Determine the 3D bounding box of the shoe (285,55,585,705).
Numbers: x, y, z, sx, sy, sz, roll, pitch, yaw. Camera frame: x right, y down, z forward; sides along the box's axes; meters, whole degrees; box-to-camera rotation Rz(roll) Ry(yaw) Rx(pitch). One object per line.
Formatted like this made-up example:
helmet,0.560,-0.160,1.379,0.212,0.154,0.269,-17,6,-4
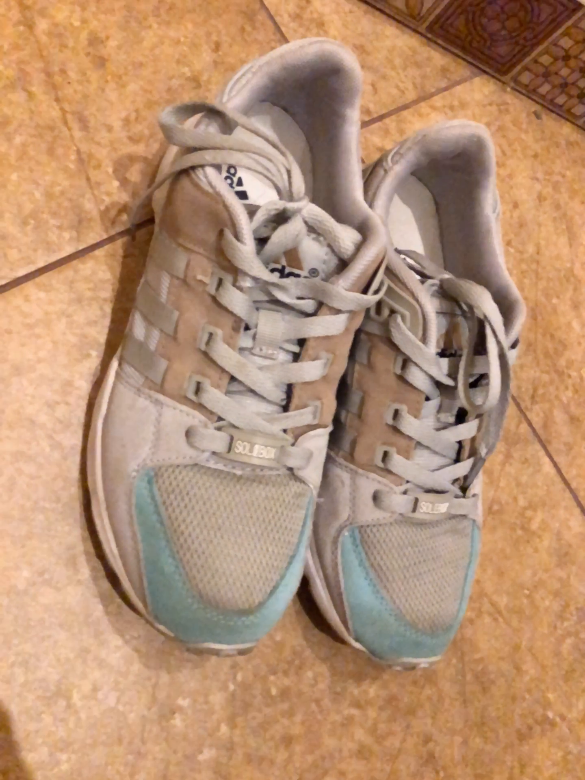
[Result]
shoe,0.063,-0.006,0.307,0.108,0.080,0.260,8,73,-27

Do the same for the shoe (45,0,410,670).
shoe,-0.021,-0.030,0.271,0.110,0.080,0.260,11,72,-26
